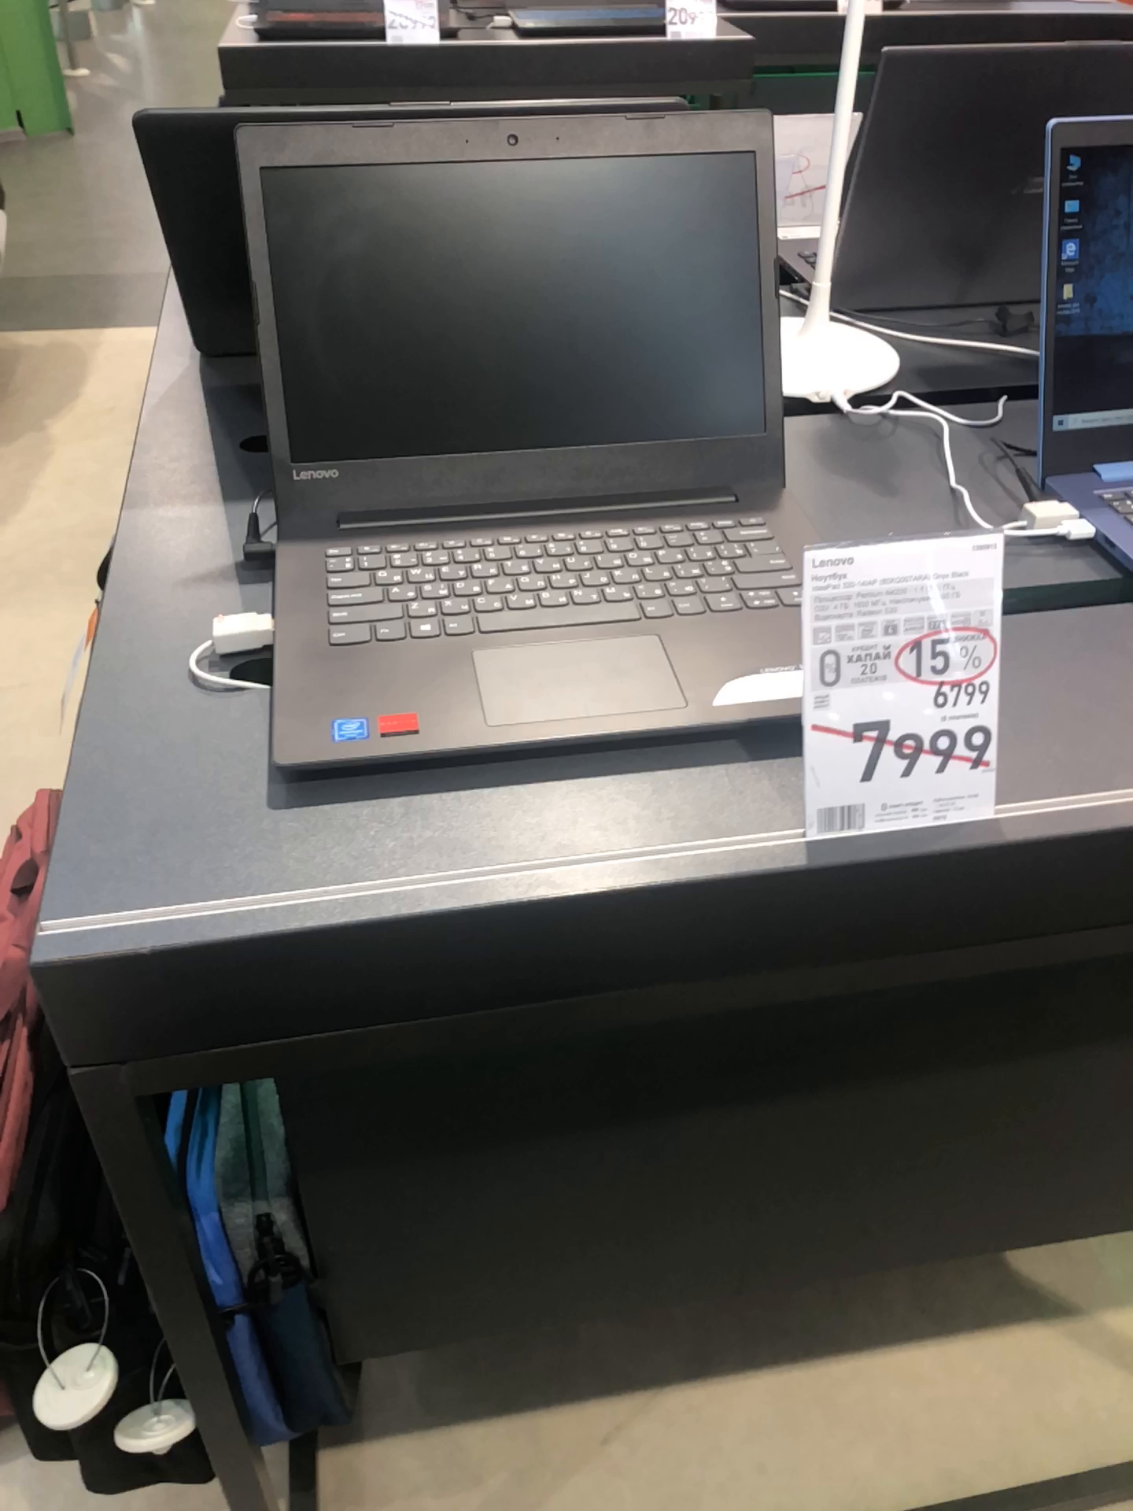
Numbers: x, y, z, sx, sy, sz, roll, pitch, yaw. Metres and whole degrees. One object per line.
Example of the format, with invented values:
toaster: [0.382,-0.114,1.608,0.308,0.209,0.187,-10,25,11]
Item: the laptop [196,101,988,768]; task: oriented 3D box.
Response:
laptop: [-0.015,-0.208,0.707,0.330,0.205,0.362,-6,40,-9]
